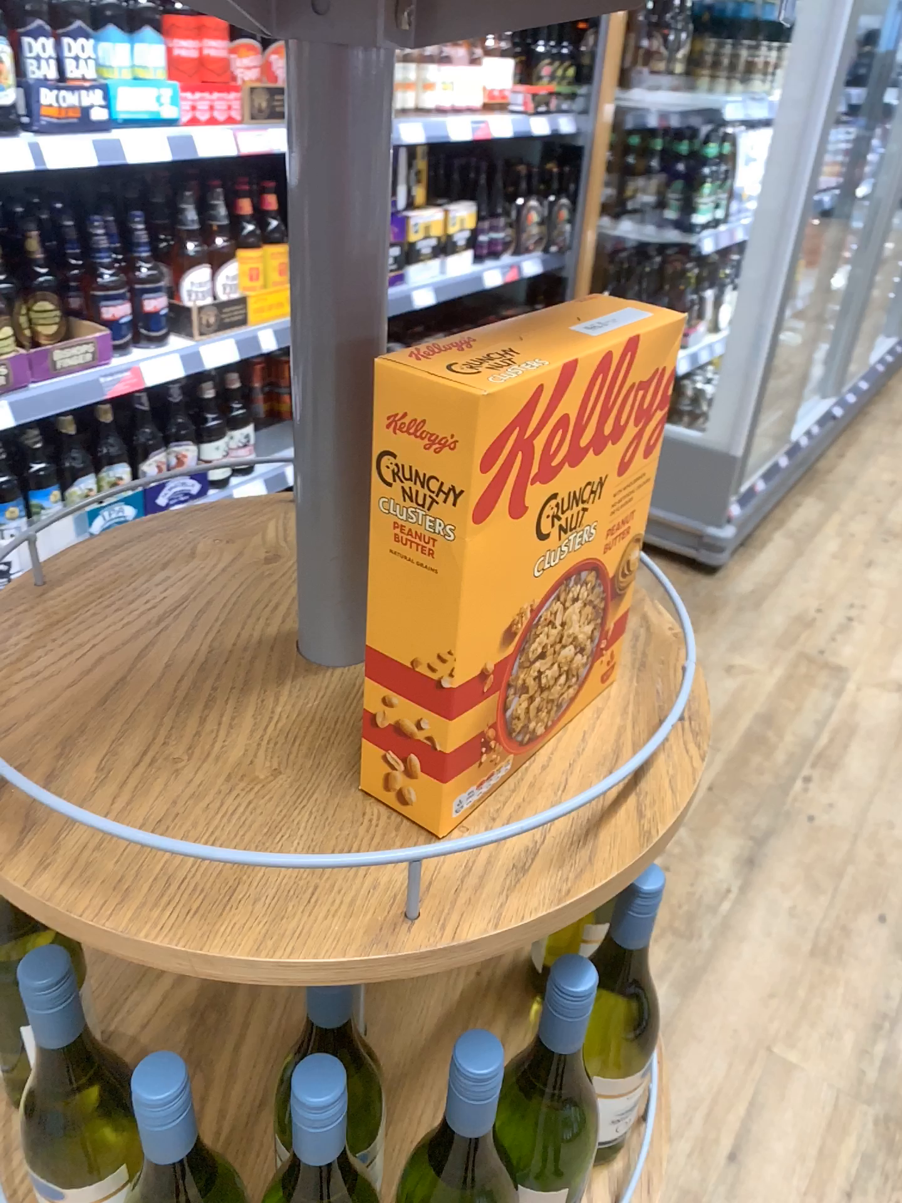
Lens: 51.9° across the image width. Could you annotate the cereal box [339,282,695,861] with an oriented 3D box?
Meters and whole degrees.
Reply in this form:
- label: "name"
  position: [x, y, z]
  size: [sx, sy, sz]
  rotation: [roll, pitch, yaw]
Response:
- label: "cereal box"
  position: [0.035, -0.025, 0.489]
  size: [0.060, 0.238, 0.211]
  rotation: [23, 35, 28]
